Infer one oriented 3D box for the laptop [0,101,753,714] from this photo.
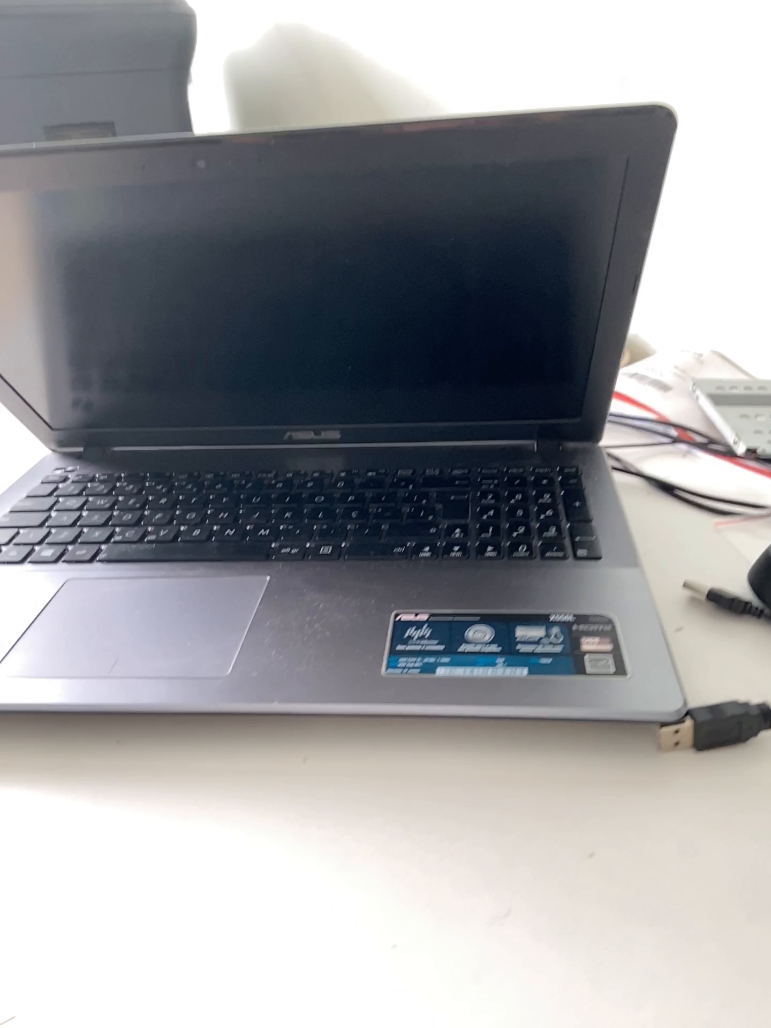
[{"bbox_3d":[-0.067,-0.069,0.373,0.364,0.190,0.247,-1,28,8],"label":"laptop"}]
